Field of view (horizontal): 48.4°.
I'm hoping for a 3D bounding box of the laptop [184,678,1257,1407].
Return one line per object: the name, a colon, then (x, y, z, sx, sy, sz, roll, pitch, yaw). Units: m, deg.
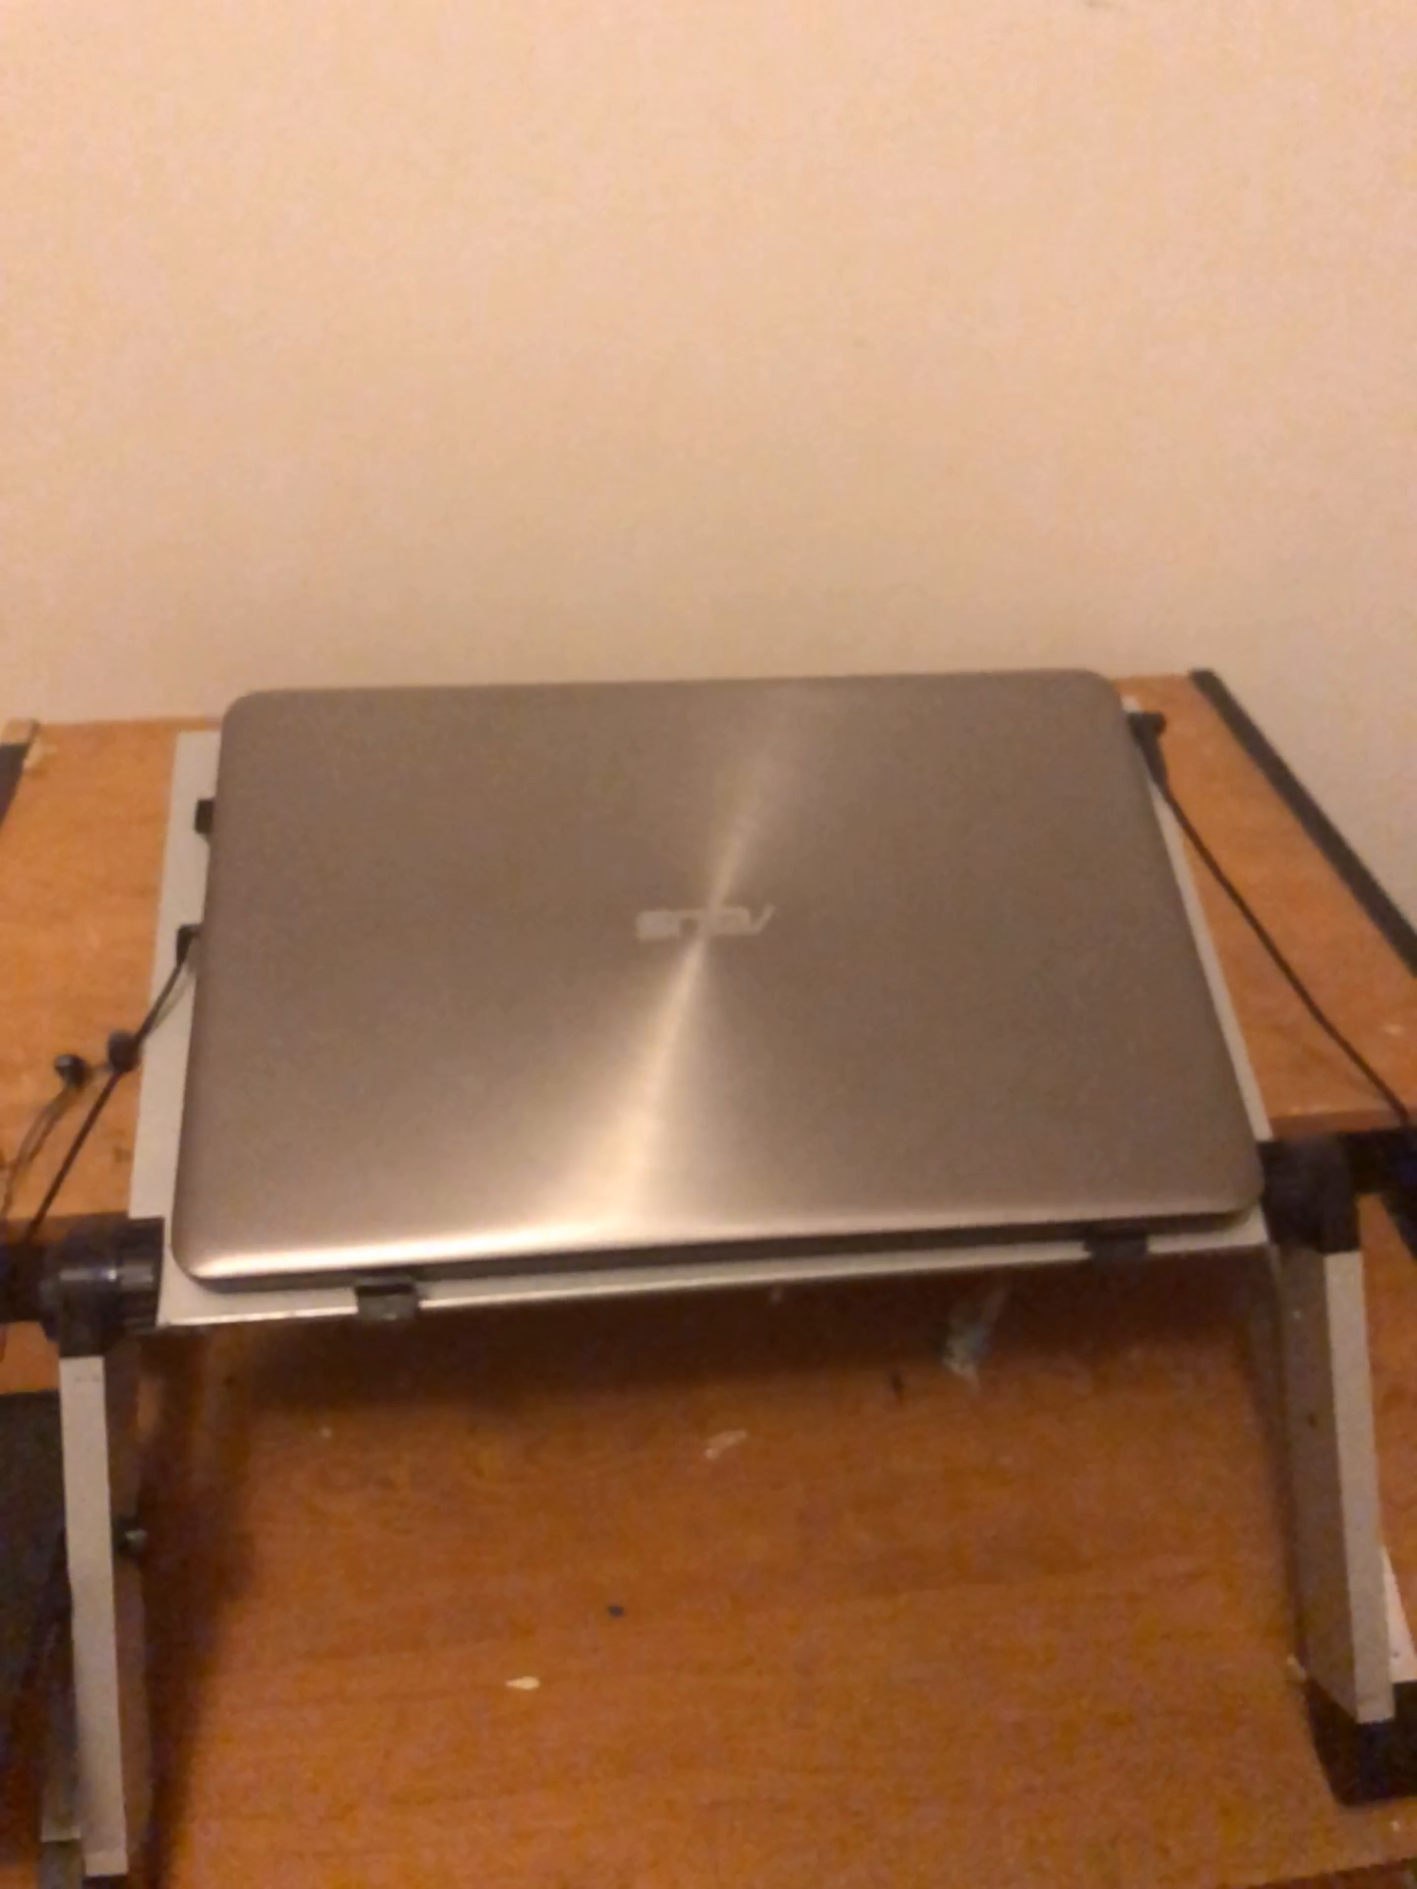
laptop: (-0.004, 0.025, 0.622, 0.361, 0.071, 0.250, -3, 54, -4)
